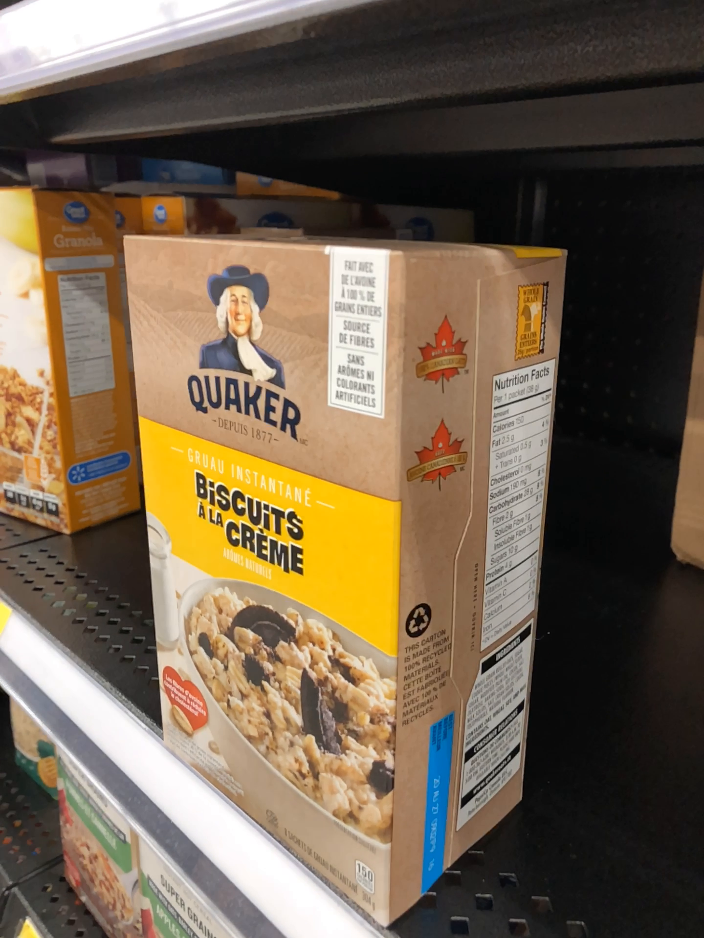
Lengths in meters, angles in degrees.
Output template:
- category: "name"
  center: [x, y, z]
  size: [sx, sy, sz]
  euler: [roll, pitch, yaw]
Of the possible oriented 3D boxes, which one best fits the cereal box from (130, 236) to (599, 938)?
- category: "cereal box"
  center: [-0.002, 0.022, 0.264]
  size: [0.080, 0.189, 0.120]
  euler: [-15, 24, -42]
